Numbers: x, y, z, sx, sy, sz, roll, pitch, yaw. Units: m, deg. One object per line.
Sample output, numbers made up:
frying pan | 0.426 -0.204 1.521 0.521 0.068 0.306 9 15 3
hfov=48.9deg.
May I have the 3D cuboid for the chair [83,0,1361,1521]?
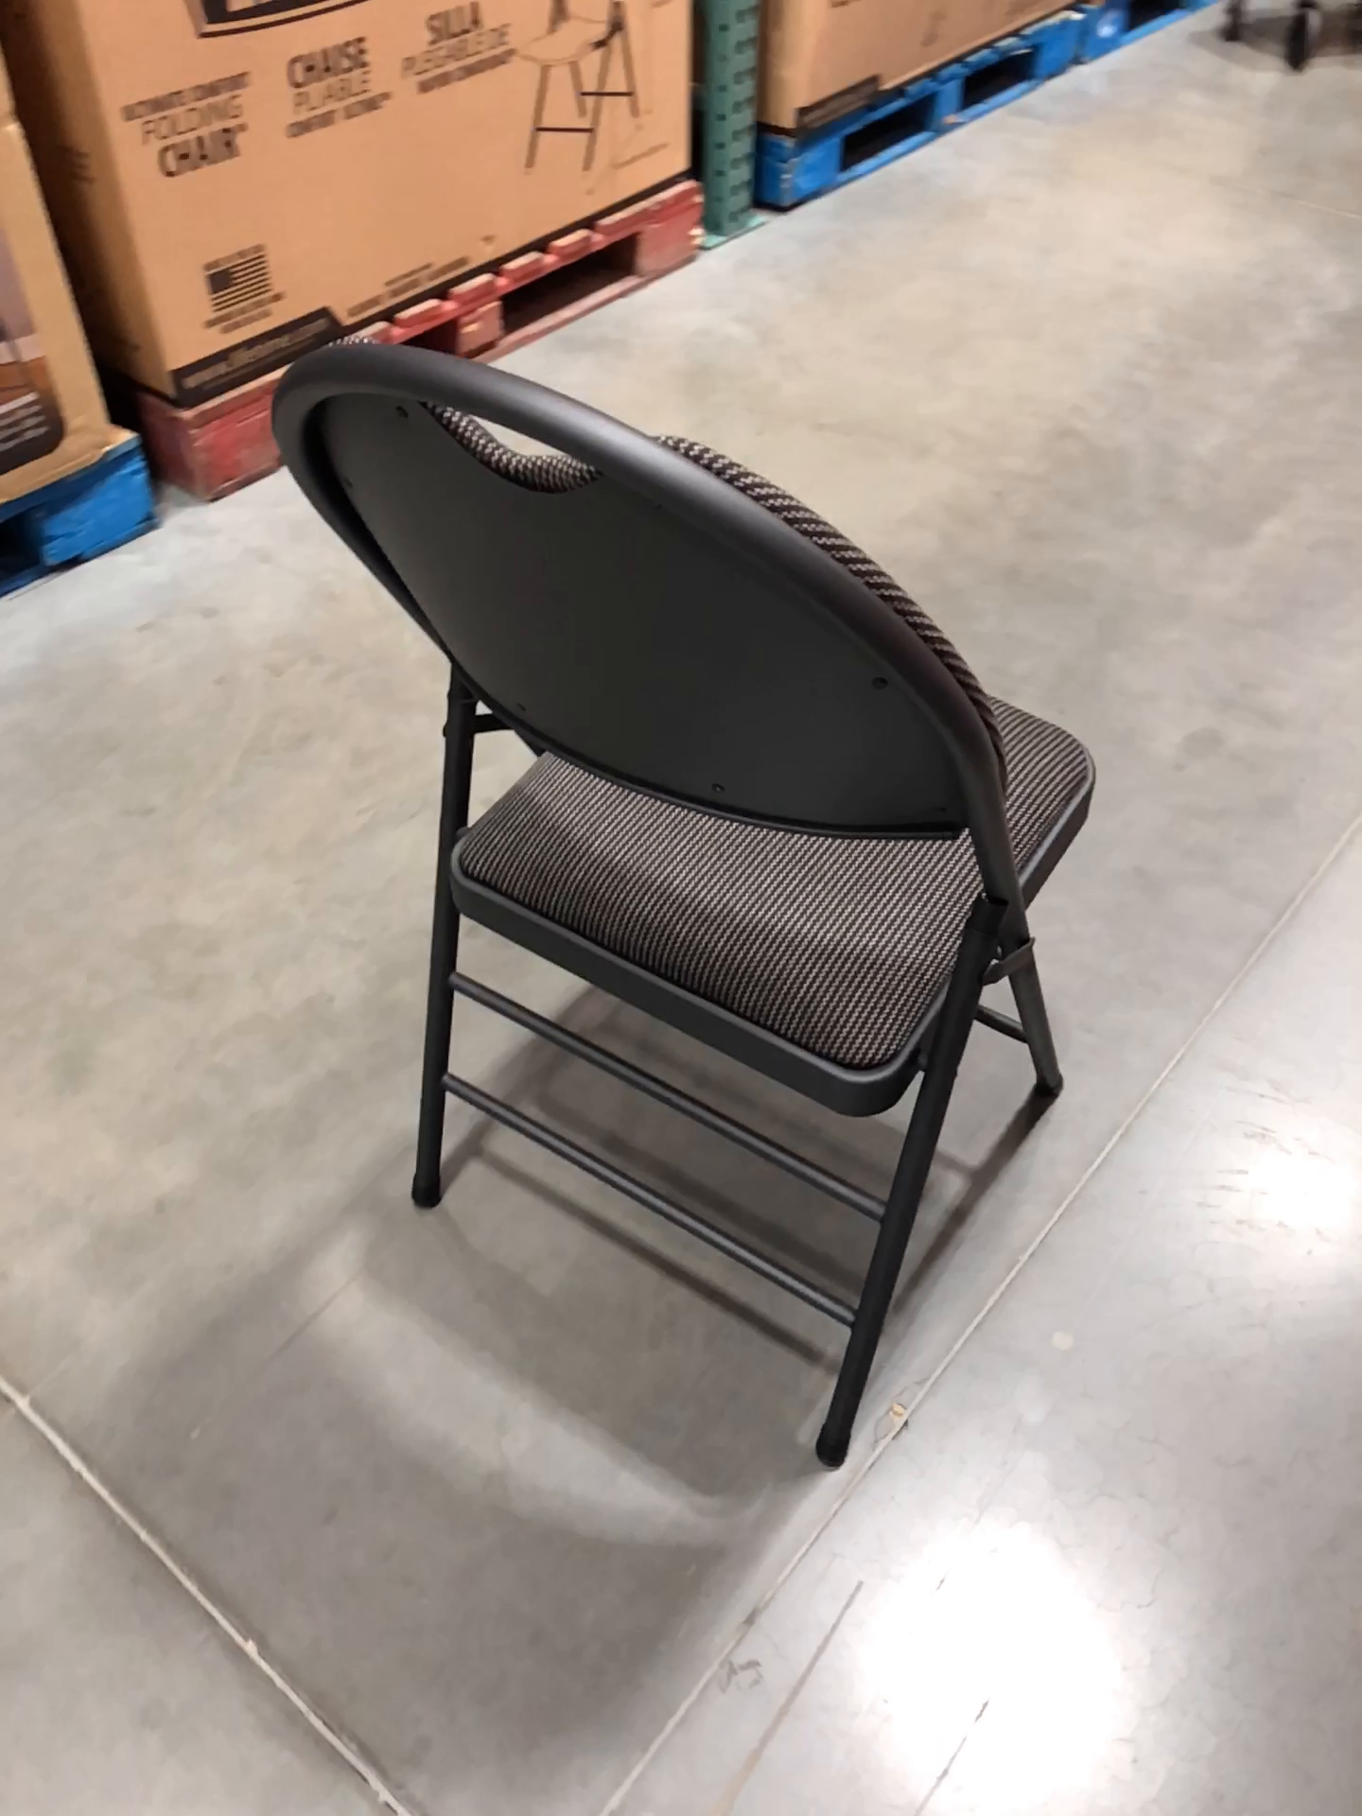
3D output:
chair | 0.077 -0.110 1.099 0.521 0.867 0.561 27 51 24
